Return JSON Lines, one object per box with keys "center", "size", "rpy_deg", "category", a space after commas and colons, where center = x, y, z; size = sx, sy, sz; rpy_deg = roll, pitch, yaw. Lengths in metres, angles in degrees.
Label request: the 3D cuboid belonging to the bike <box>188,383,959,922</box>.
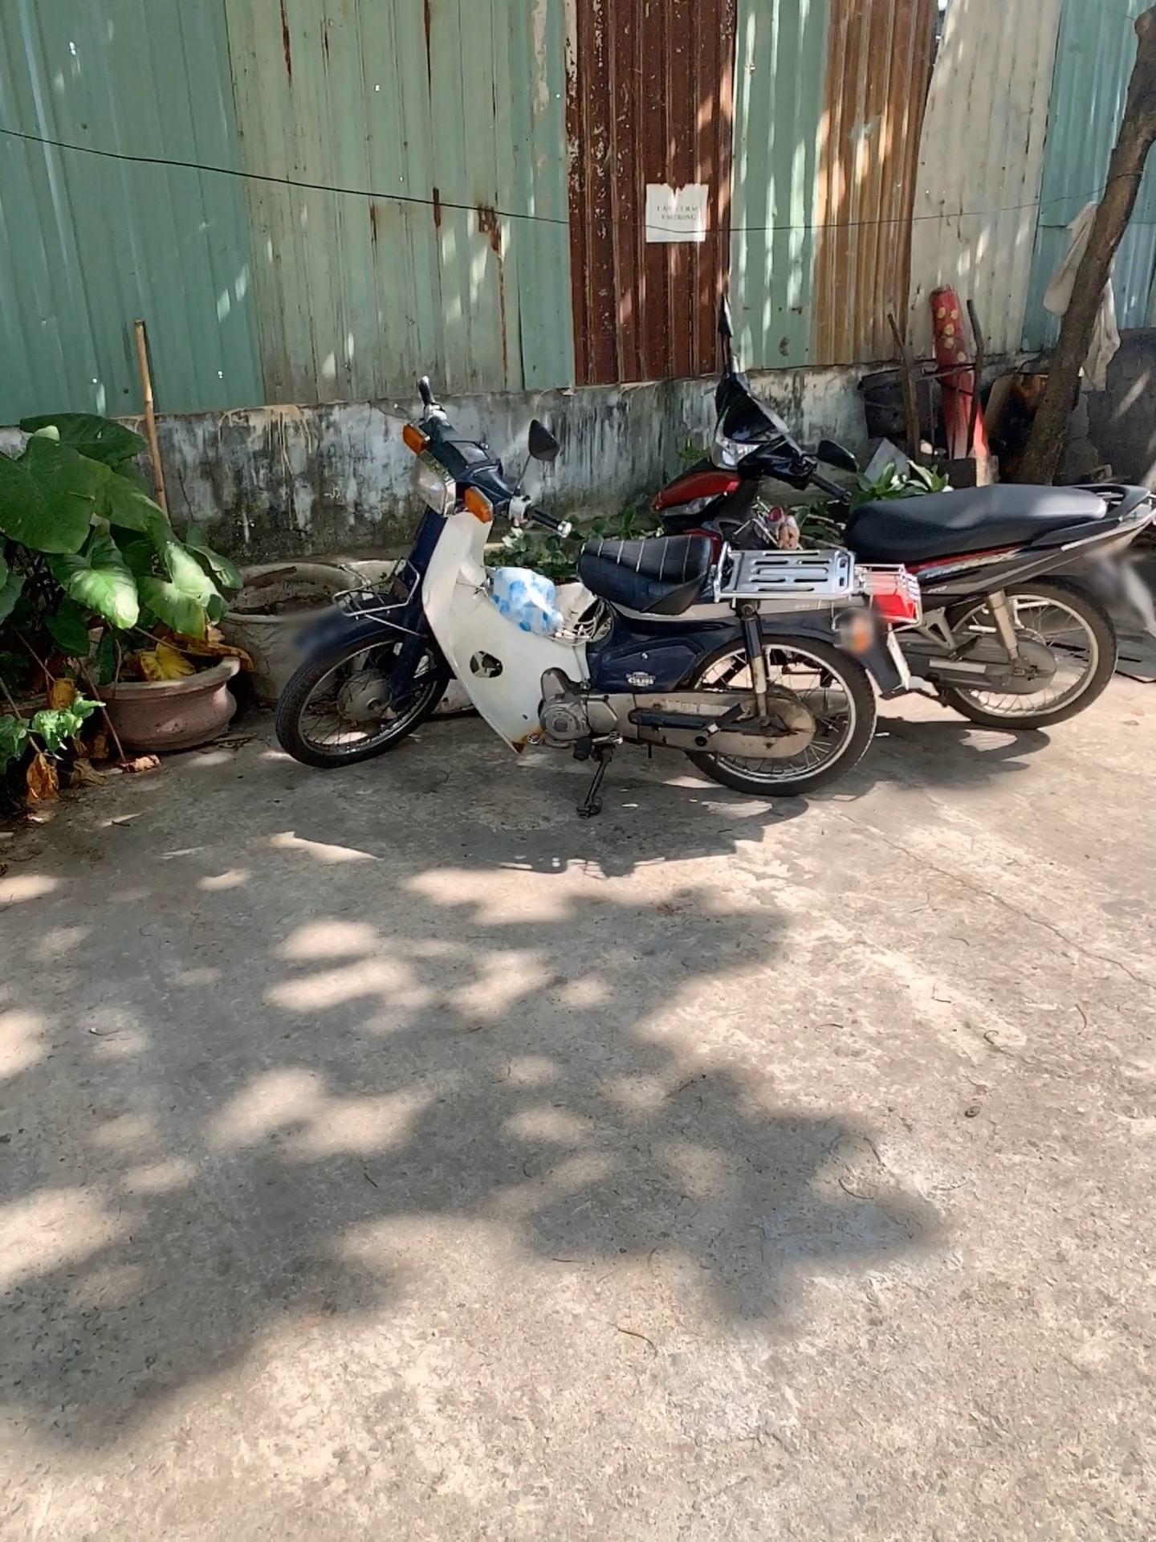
{"center": [-0.013, -0.290, 2.755], "size": [1.474, 1.024, 0.656], "rpy_deg": [-1, 23, 2], "category": "bike"}
